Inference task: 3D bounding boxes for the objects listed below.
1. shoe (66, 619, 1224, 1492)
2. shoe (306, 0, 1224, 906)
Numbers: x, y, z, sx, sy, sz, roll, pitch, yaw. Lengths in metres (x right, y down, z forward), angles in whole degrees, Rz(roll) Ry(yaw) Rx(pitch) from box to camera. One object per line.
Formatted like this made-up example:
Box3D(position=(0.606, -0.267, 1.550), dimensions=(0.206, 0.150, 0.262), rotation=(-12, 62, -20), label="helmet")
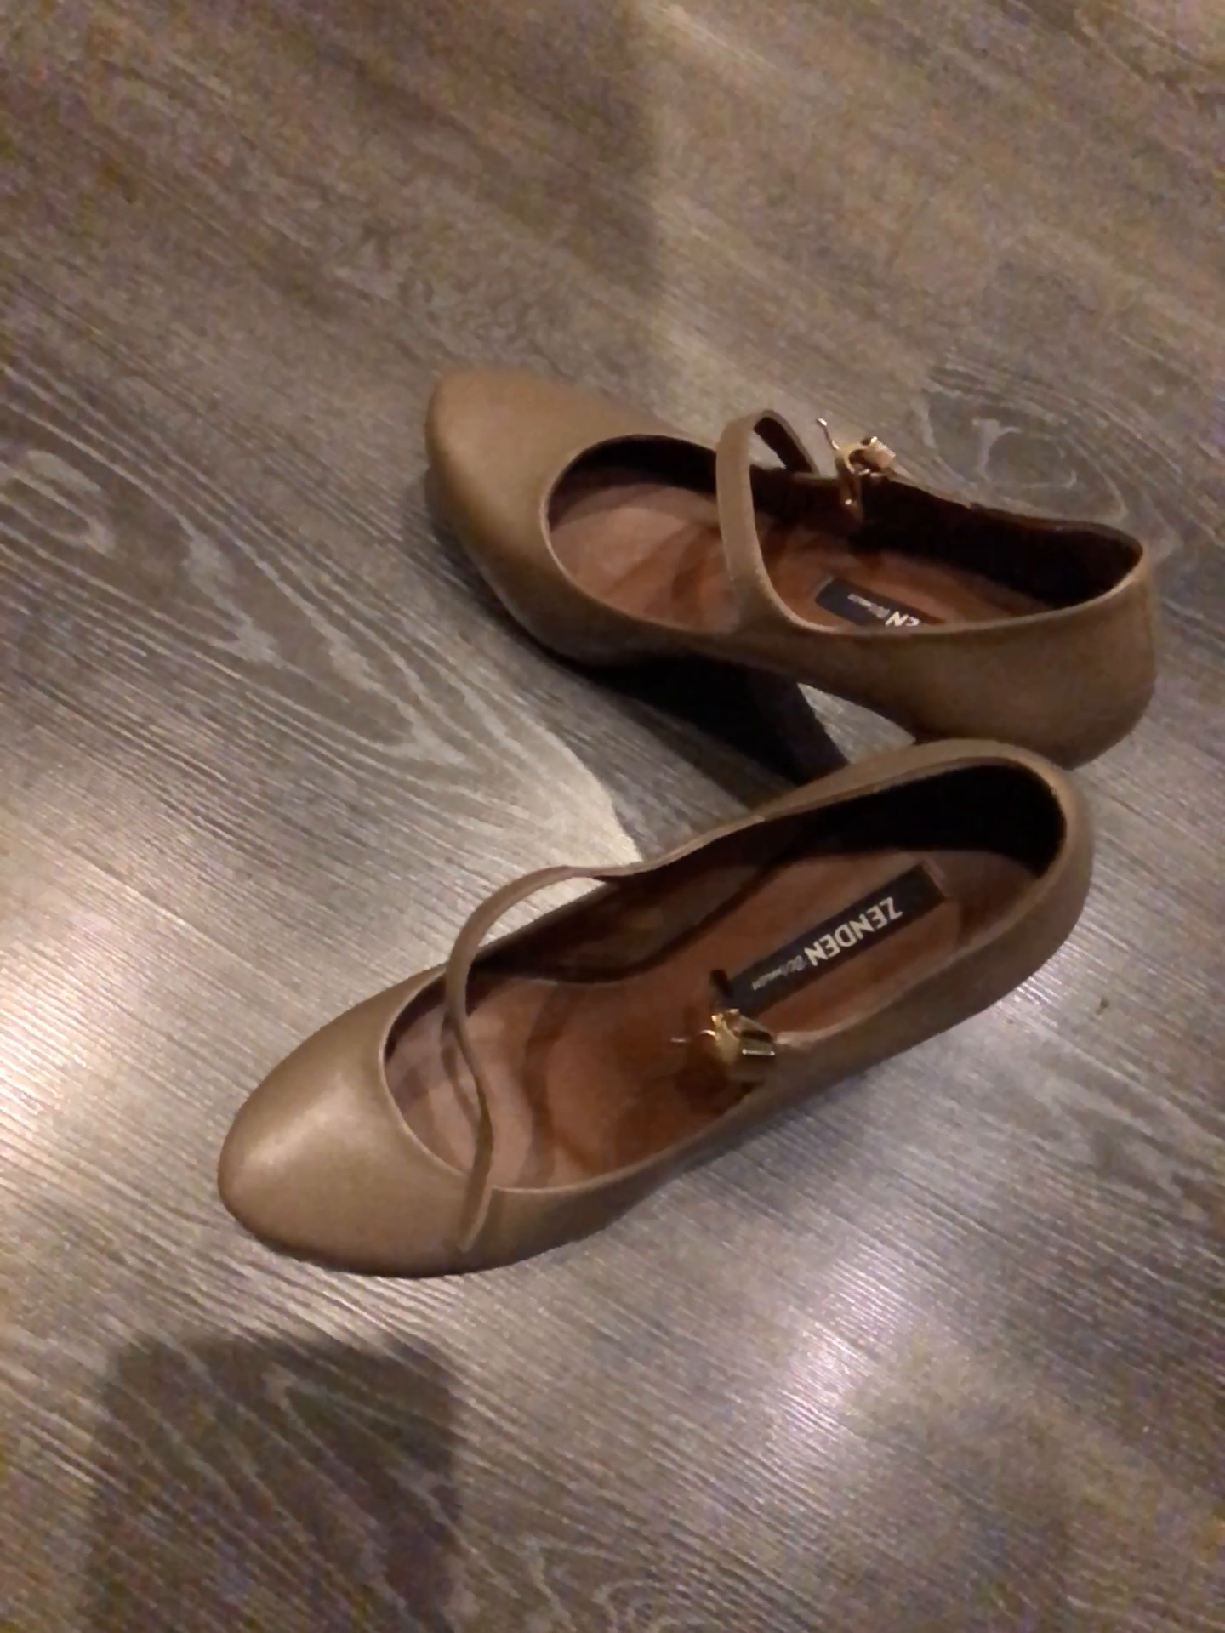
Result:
Box3D(position=(0.010, 0.053, 0.315), dimensions=(0.210, 0.150, 0.090), rotation=(-18, 77, -12), label="shoe")
Box3D(position=(0.038, -0.088, 0.362), dimensions=(0.210, 0.150, 0.090), rotation=(34, 73, 3), label="shoe")
